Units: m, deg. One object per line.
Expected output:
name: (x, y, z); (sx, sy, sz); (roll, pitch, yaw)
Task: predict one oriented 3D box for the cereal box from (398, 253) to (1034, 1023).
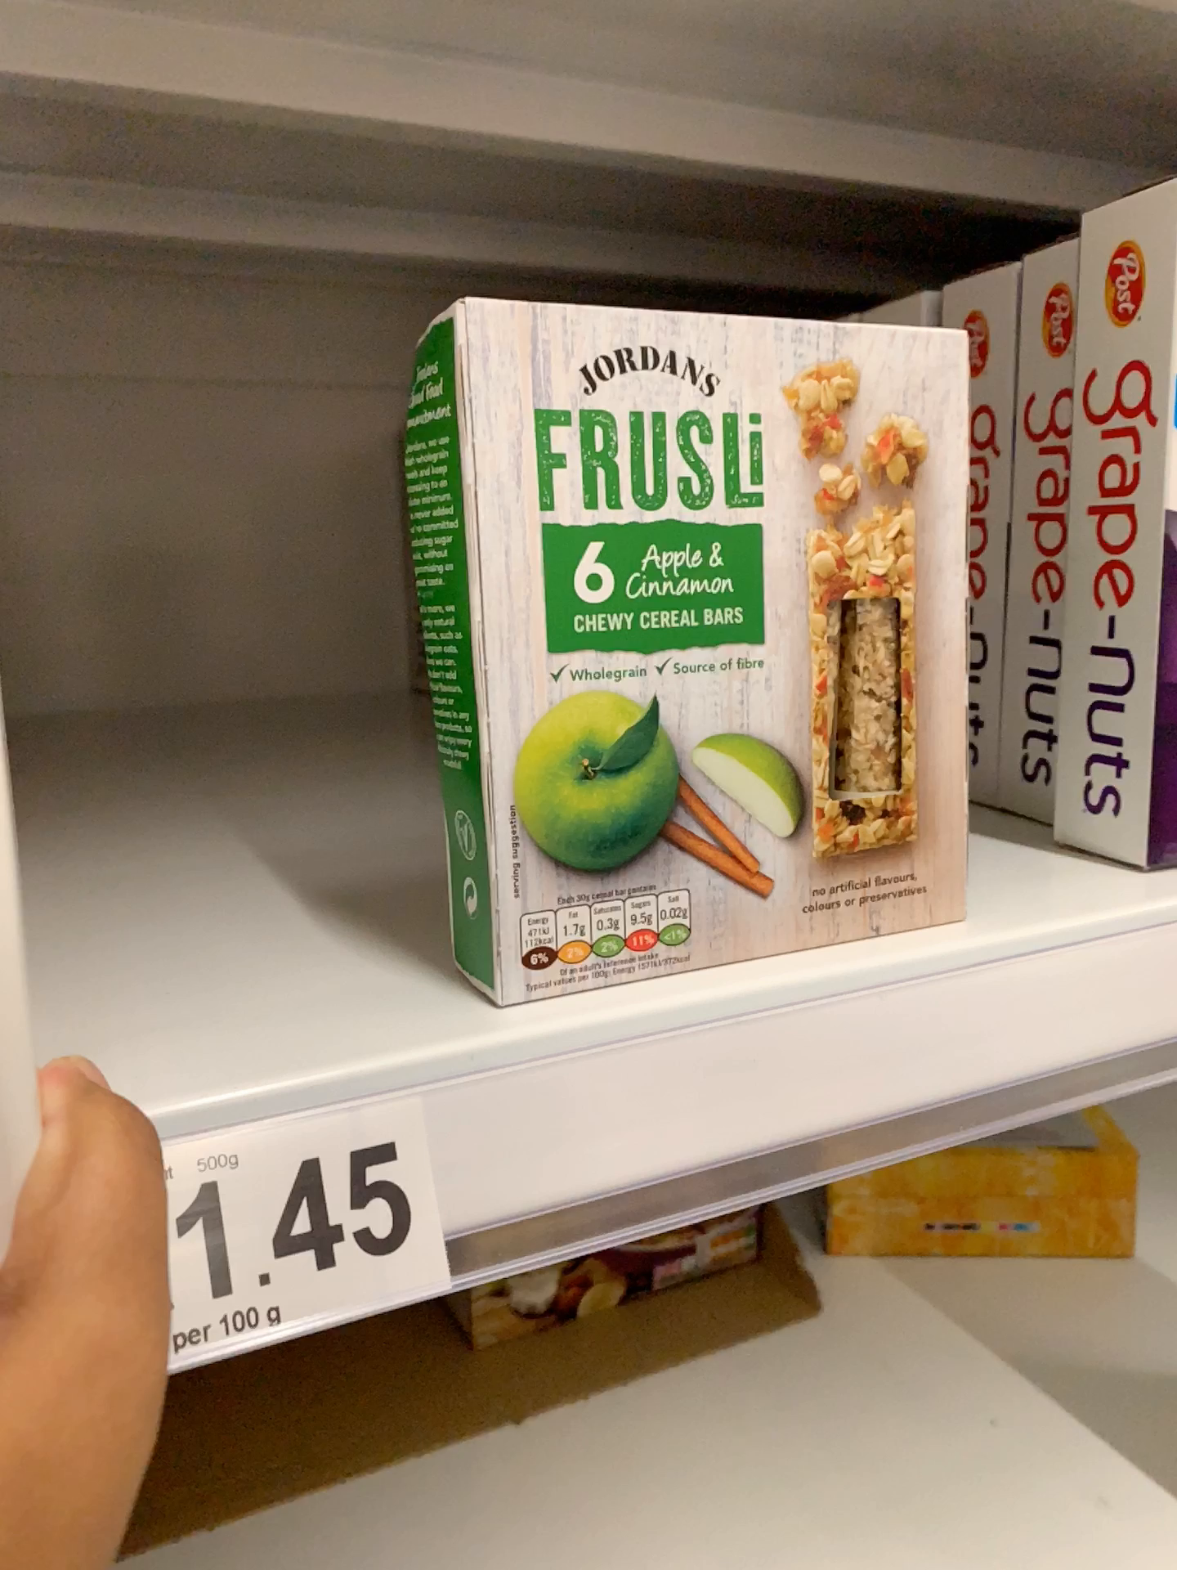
cereal box: (0.035, -0.038, 0.310); (0.150, 0.159, 0.050); (-6, 11, -26)
